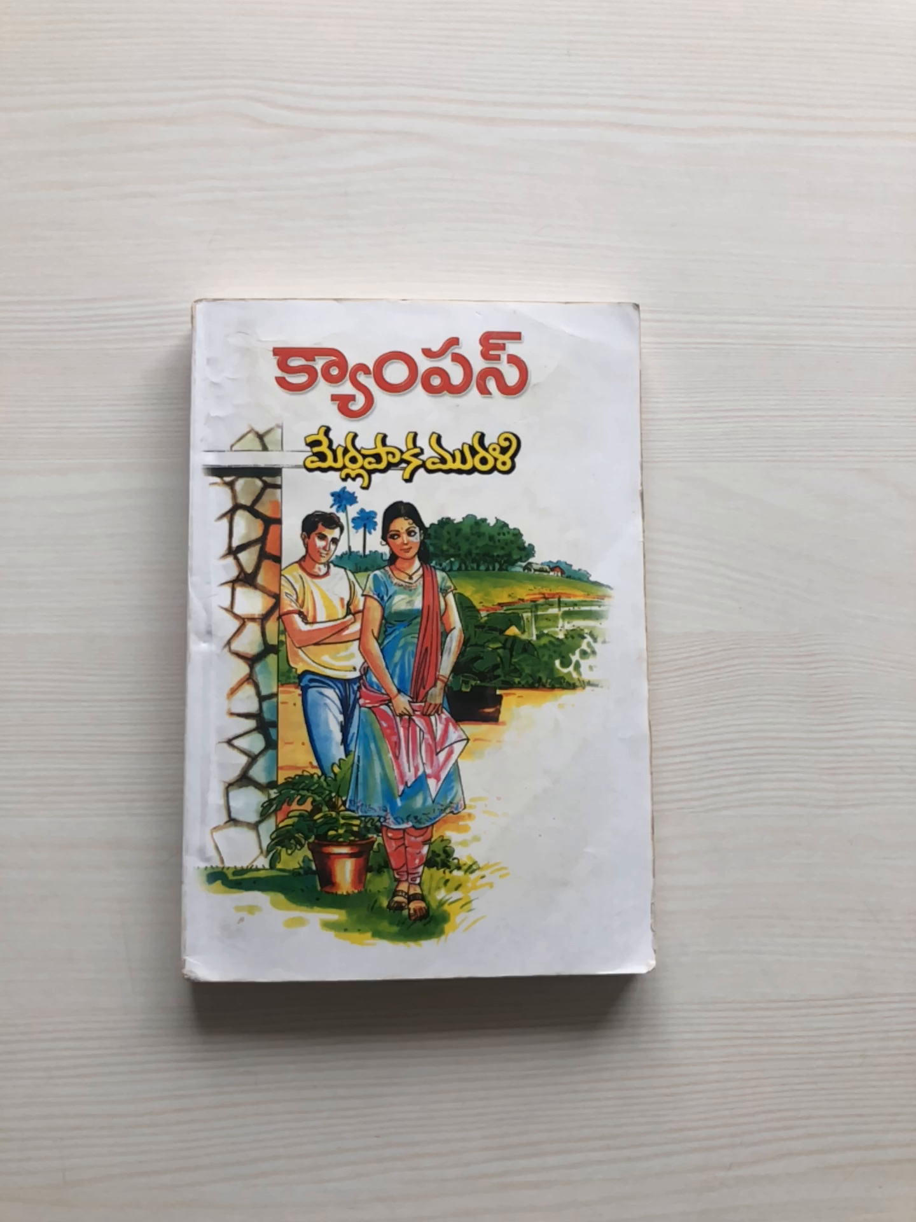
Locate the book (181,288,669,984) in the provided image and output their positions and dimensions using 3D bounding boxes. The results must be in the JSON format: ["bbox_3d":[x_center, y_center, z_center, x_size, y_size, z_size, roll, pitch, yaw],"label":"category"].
[{"bbox_3d":[-0.008,0.004,0.251,0.113,0.016,0.164,0,85,-3],"label":"book"}]
